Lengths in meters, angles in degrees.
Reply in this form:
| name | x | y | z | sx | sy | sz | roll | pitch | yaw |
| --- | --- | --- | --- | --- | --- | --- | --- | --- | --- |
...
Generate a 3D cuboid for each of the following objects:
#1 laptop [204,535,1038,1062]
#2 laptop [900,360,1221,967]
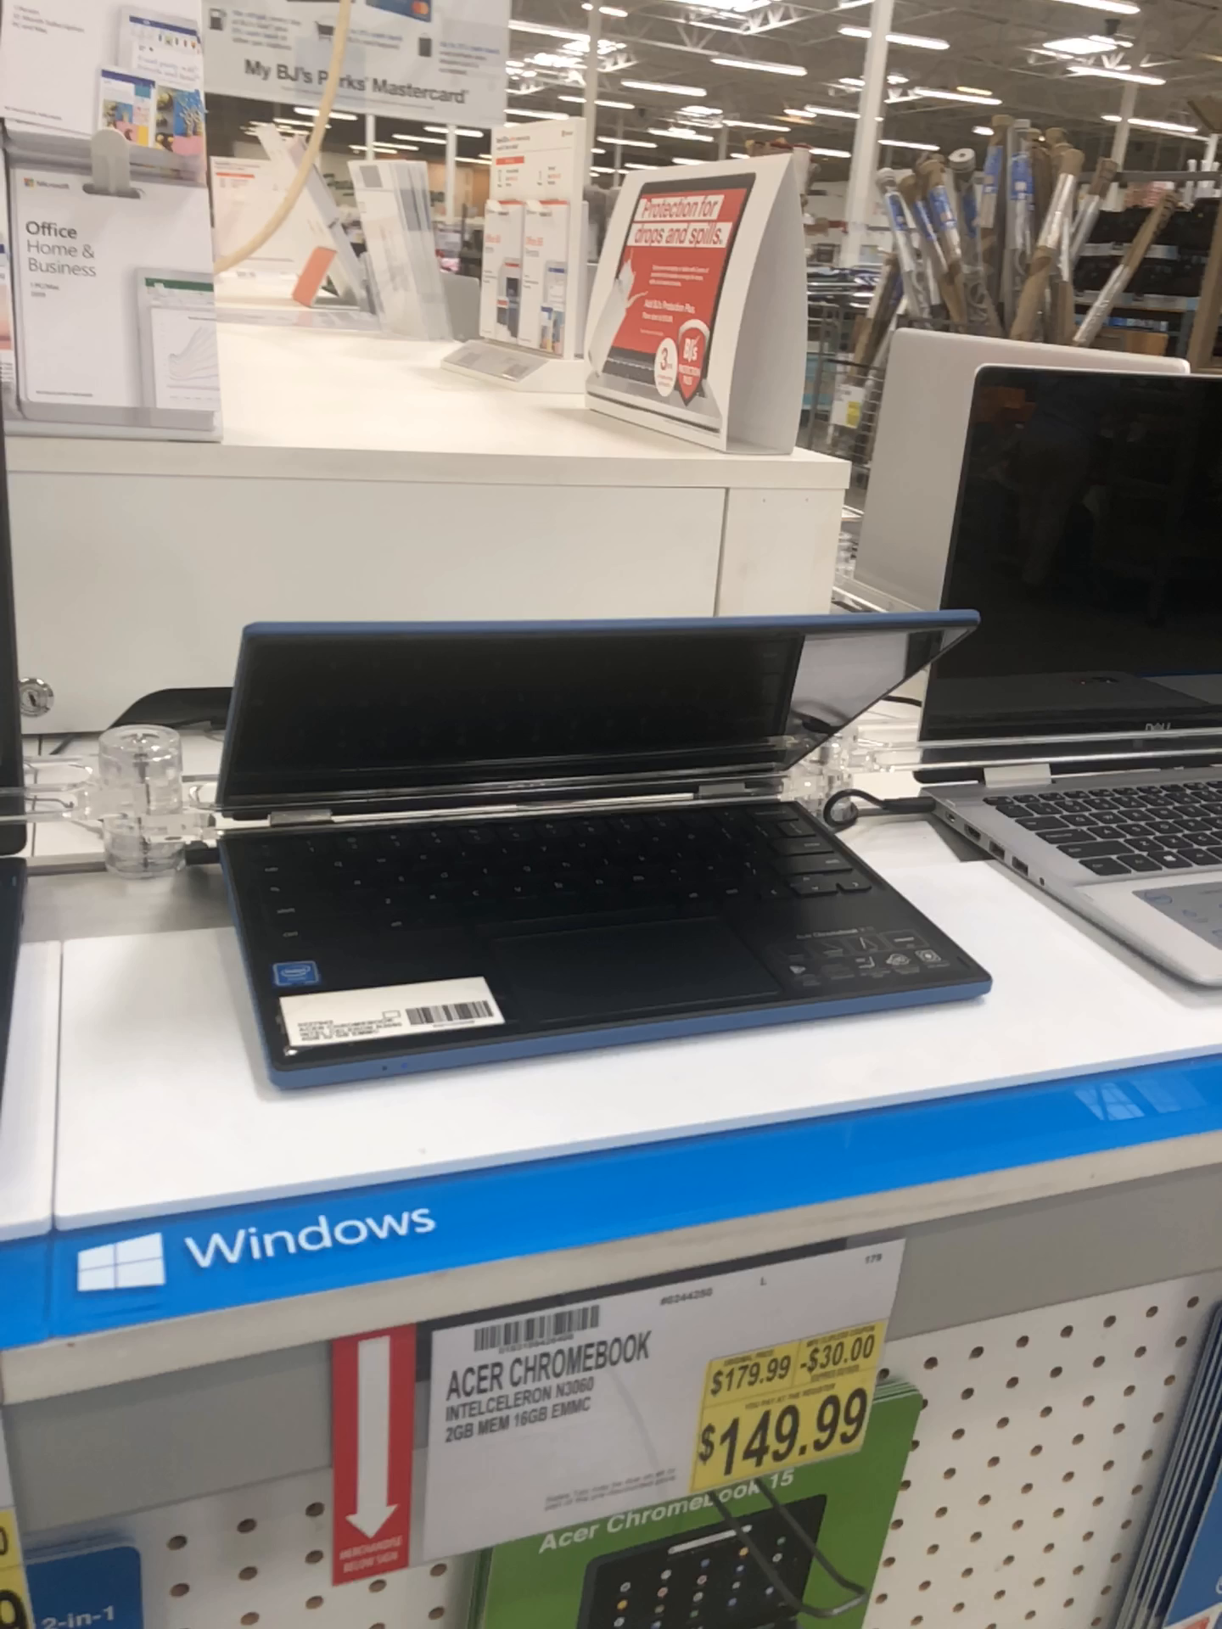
| name | x | y | z | sx | sy | sz | roll | pitch | yaw |
| --- | --- | --- | --- | --- | --- | --- | --- | --- | --- |
| laptop | -0.010 | -0.025 | 0.546 | 0.280 | 0.128 | 0.187 | -4 | 25 | -21 |
| laptop | 0.342 | -0.090 | 0.663 | 0.295 | 0.211 | 0.222 | -3 | 25 | -19 |
